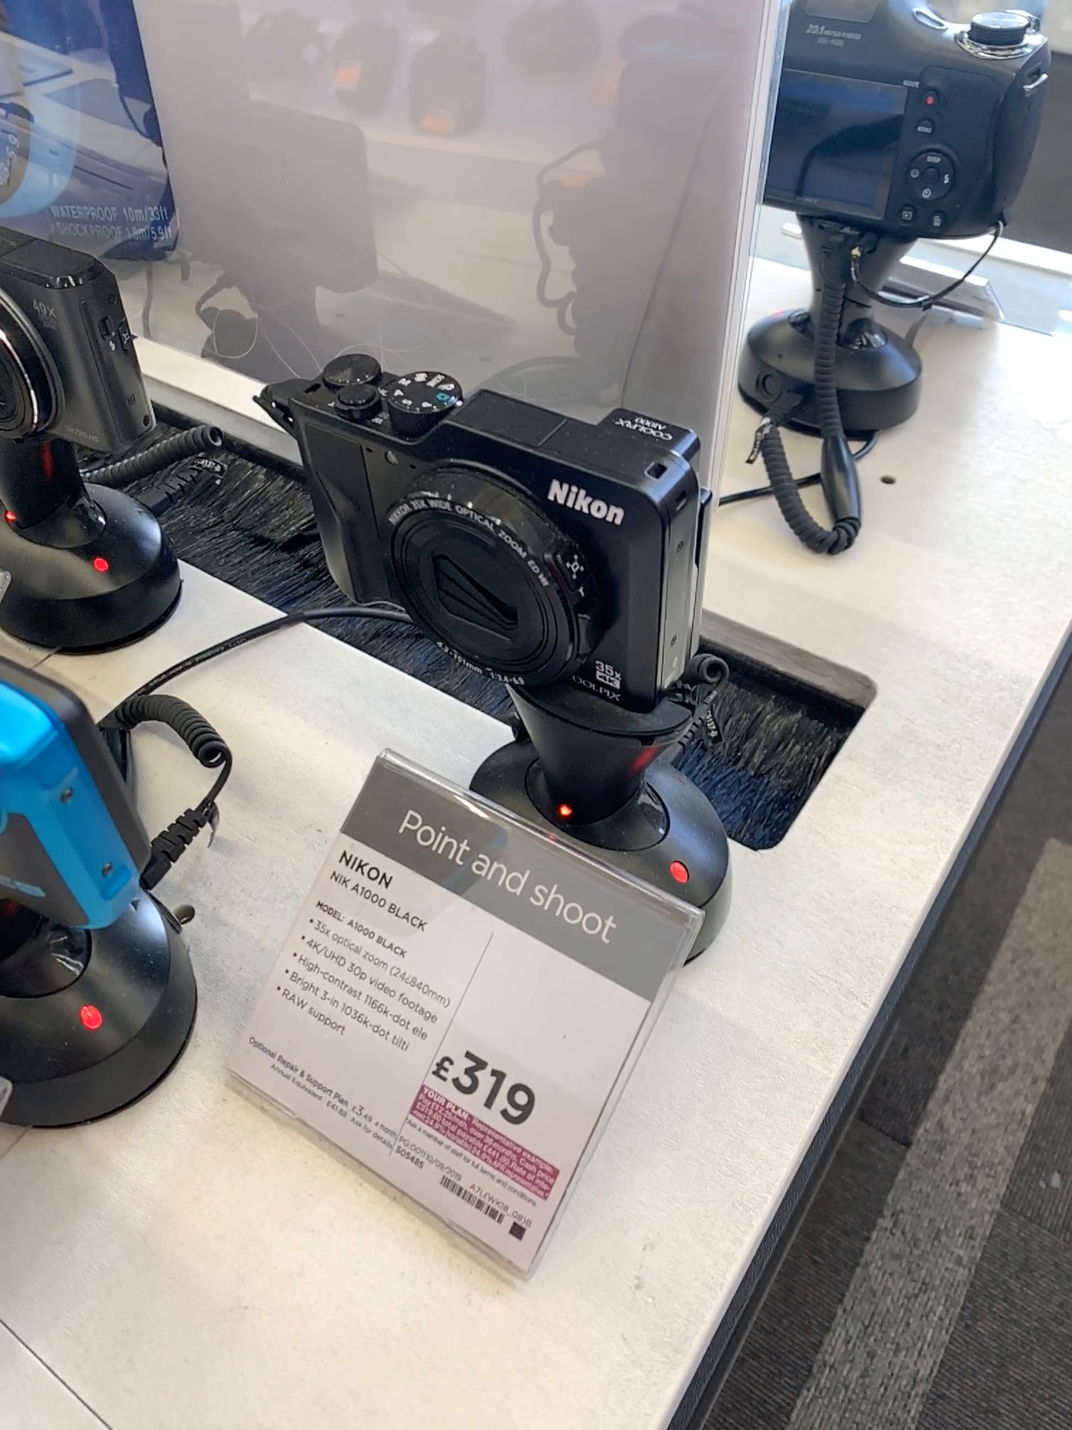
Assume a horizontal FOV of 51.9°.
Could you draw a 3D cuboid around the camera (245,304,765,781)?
[{"bbox_3d":[-0.010,-0.044,0.275,0.120,0.079,0.030,25,52,22],"label":"camera"}]
